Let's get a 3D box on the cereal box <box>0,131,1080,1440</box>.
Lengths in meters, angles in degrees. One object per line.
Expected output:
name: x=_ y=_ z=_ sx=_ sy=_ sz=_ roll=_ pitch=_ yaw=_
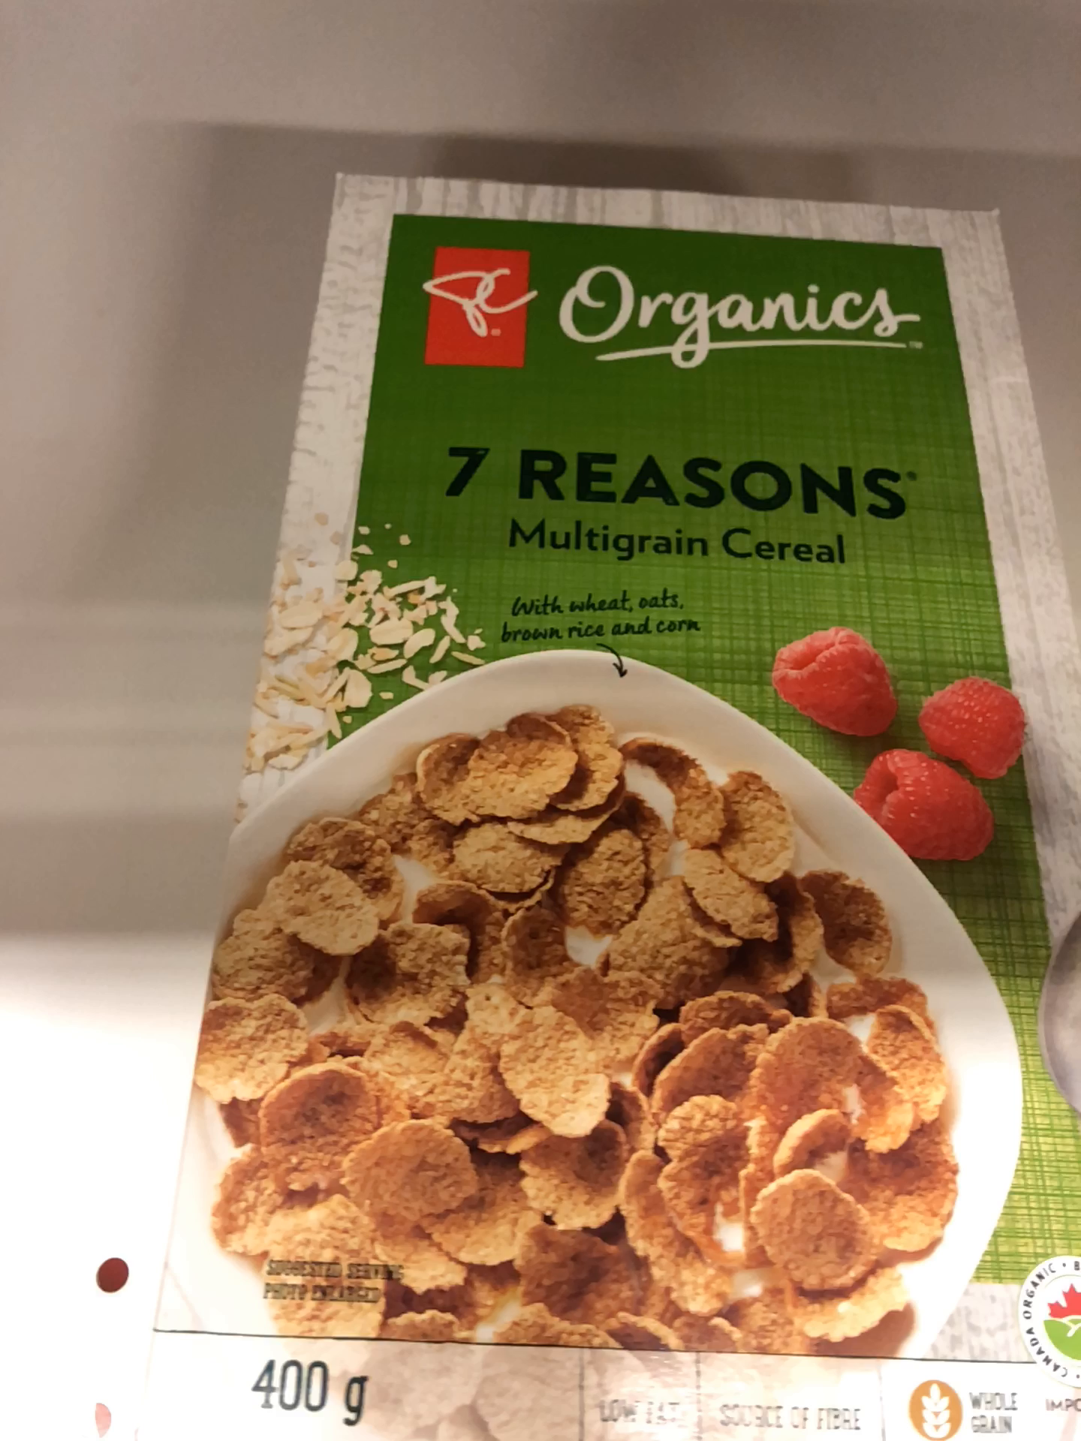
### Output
cereal box: x=0.025 y=0.002 z=0.242 sx=0.180 sy=0.060 sz=0.260 roll=3 pitch=63 yaw=-1
